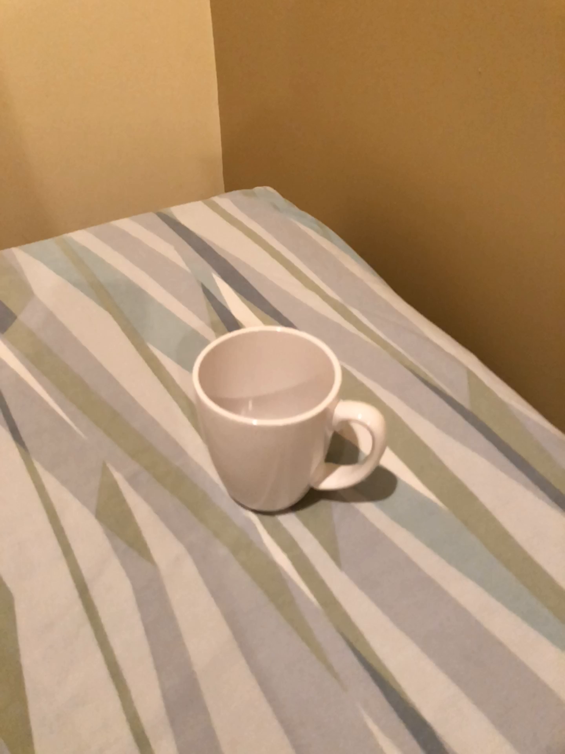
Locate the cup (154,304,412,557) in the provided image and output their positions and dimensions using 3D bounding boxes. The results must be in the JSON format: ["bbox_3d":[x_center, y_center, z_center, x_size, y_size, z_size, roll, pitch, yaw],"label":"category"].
[{"bbox_3d":[0.005,0.029,0.374,0.120,0.090,0.090,13,44,16],"label":"cup"}]
